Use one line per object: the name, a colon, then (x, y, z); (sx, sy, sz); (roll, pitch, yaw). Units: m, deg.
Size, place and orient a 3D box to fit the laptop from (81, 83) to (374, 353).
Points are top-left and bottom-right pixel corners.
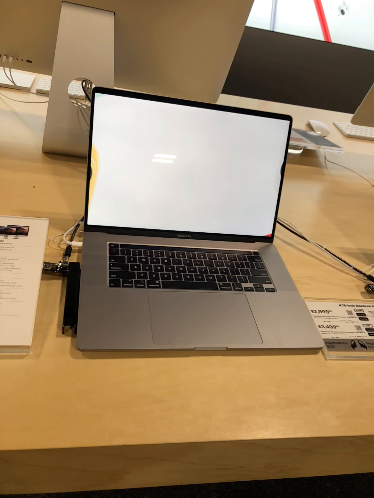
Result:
laptop: (0.019, -0.060, 0.625); (0.335, 0.204, 0.350); (4, 40, -12)
